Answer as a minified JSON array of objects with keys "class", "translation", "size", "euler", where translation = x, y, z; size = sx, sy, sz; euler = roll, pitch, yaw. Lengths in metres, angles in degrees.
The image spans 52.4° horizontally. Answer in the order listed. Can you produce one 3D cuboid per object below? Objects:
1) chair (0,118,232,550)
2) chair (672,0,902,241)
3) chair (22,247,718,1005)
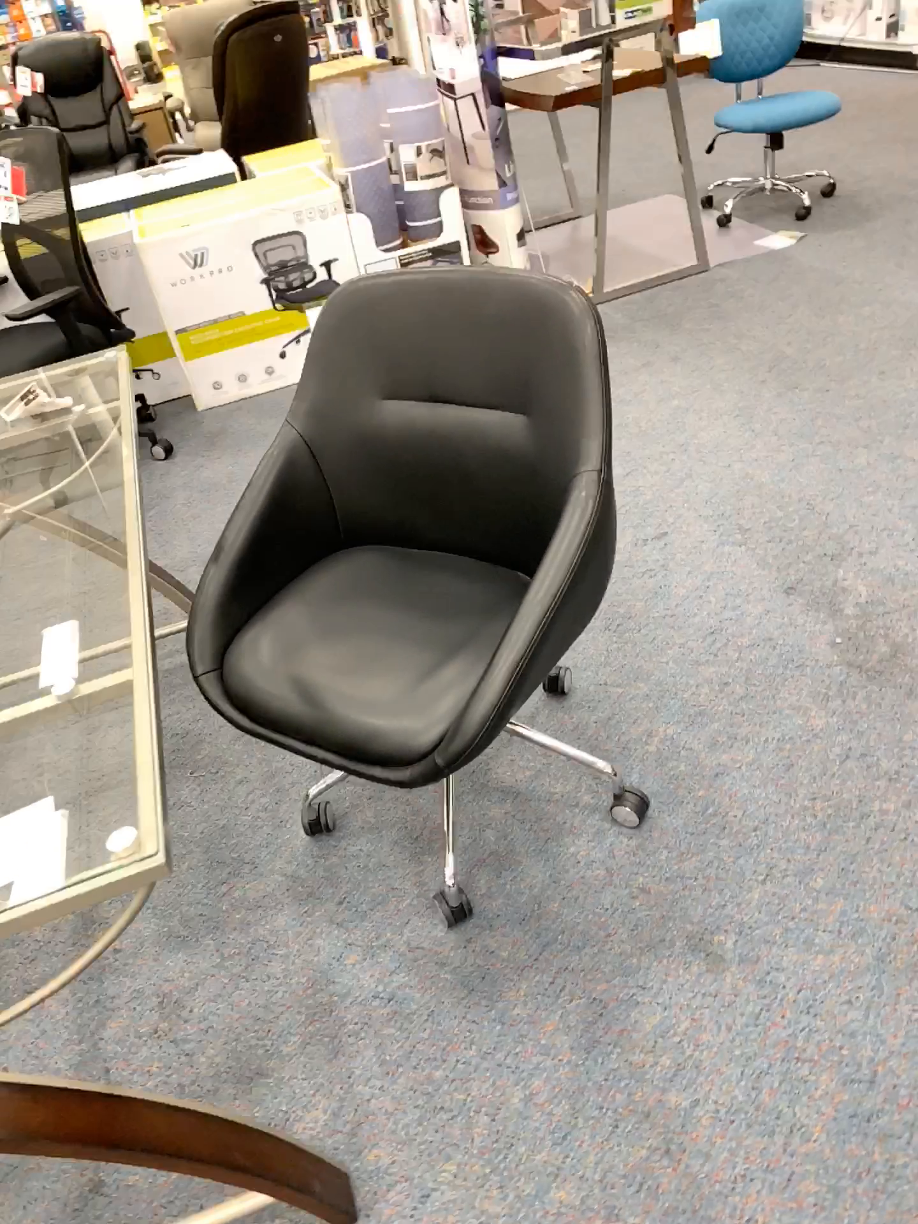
[{"class":"chair","translation":[-1.448,-0.943,3.036],"size":[0.825,1.013,0.820],"euler":[-34,41,-27]},{"class":"chair","translation":[1.372,-2.293,4.131],"size":[0.727,0.834,1.170],"euler":[-4,37,11]},{"class":"chair","translation":[-0.032,-0.028,1.460],"size":[0.659,0.844,0.656],"euler":[13,43,30]}]
